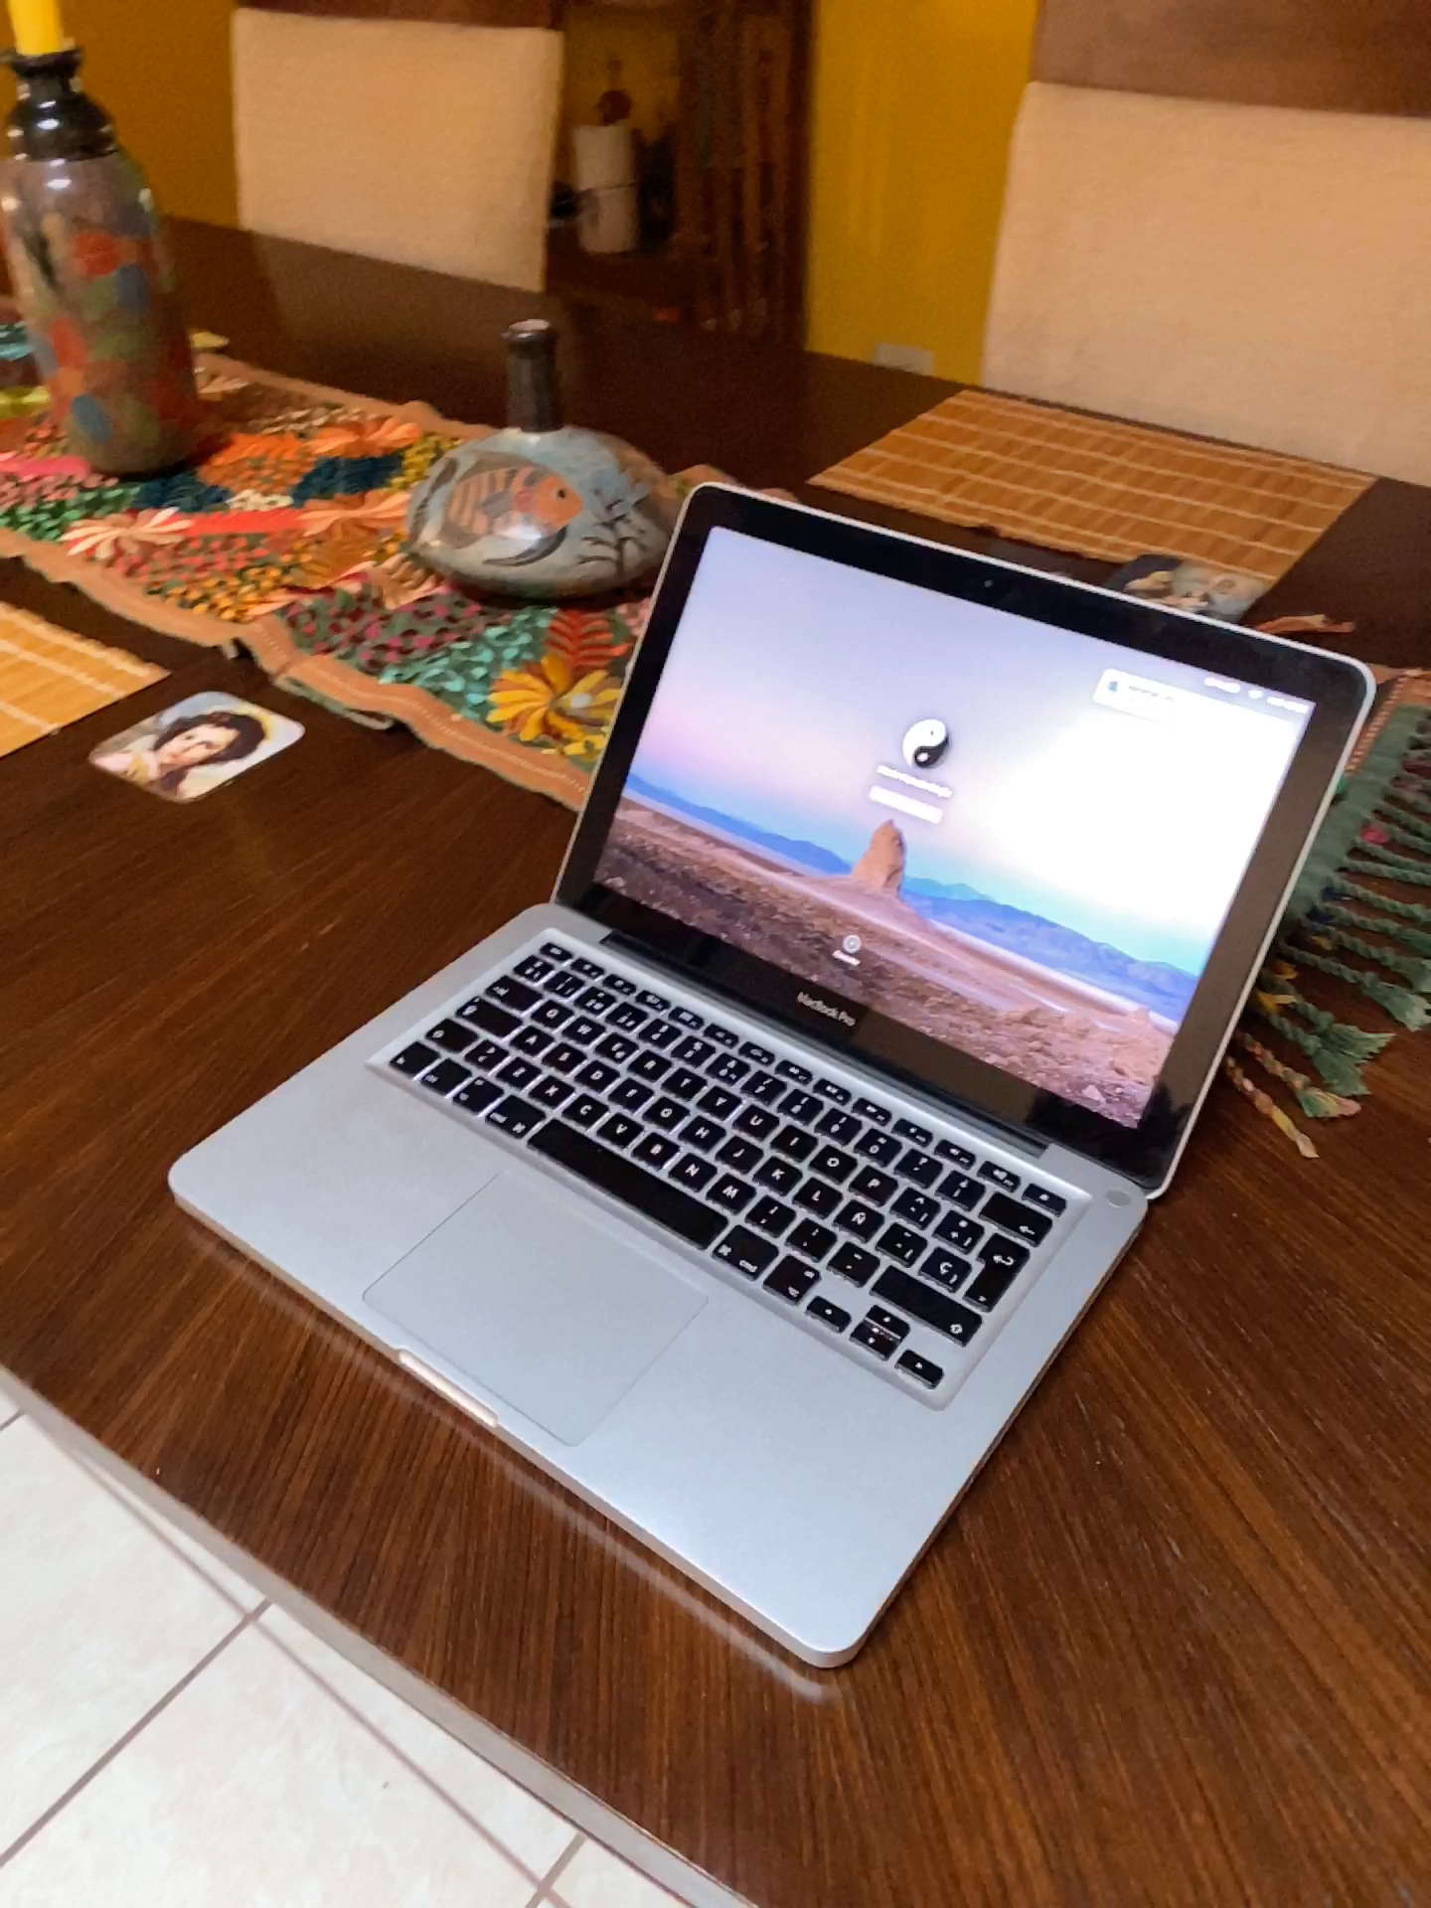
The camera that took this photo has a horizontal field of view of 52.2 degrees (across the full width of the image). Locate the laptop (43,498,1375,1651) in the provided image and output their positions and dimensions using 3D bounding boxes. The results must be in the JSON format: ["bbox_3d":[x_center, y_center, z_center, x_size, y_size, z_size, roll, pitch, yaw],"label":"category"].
[{"bbox_3d":[0.013,-0.005,0.577,0.325,0.170,0.359,25,45,29],"label":"laptop"}]
